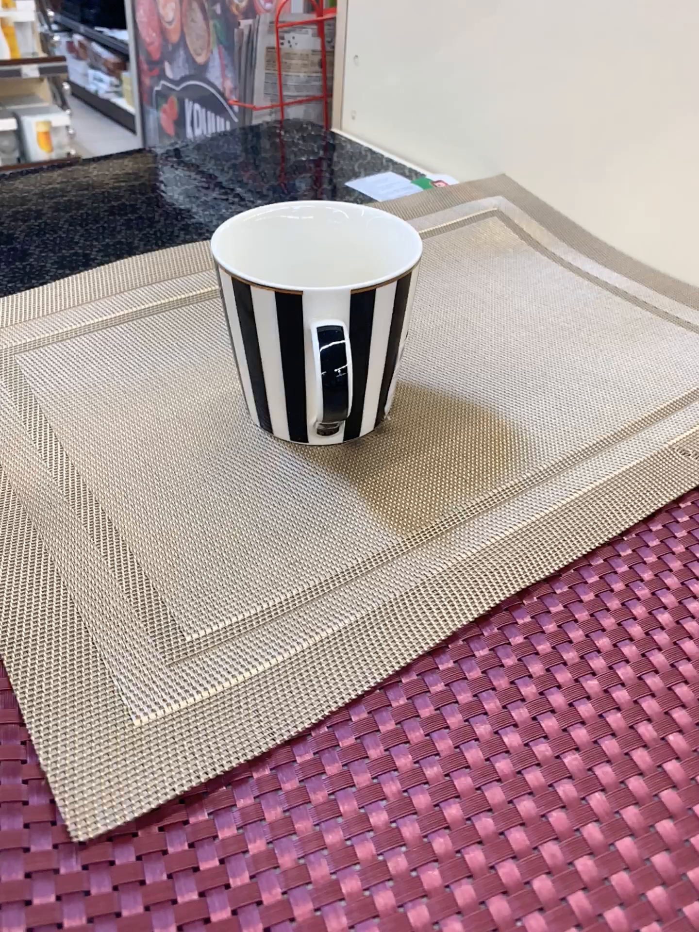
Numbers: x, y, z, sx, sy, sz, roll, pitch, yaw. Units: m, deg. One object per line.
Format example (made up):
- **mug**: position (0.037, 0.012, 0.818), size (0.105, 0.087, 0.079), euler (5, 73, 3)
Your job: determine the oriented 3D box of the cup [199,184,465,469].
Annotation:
- **cup**: position (-0.017, -0.072, 0.344), size (0.100, 0.080, 0.131), euler (-2, 39, -8)
